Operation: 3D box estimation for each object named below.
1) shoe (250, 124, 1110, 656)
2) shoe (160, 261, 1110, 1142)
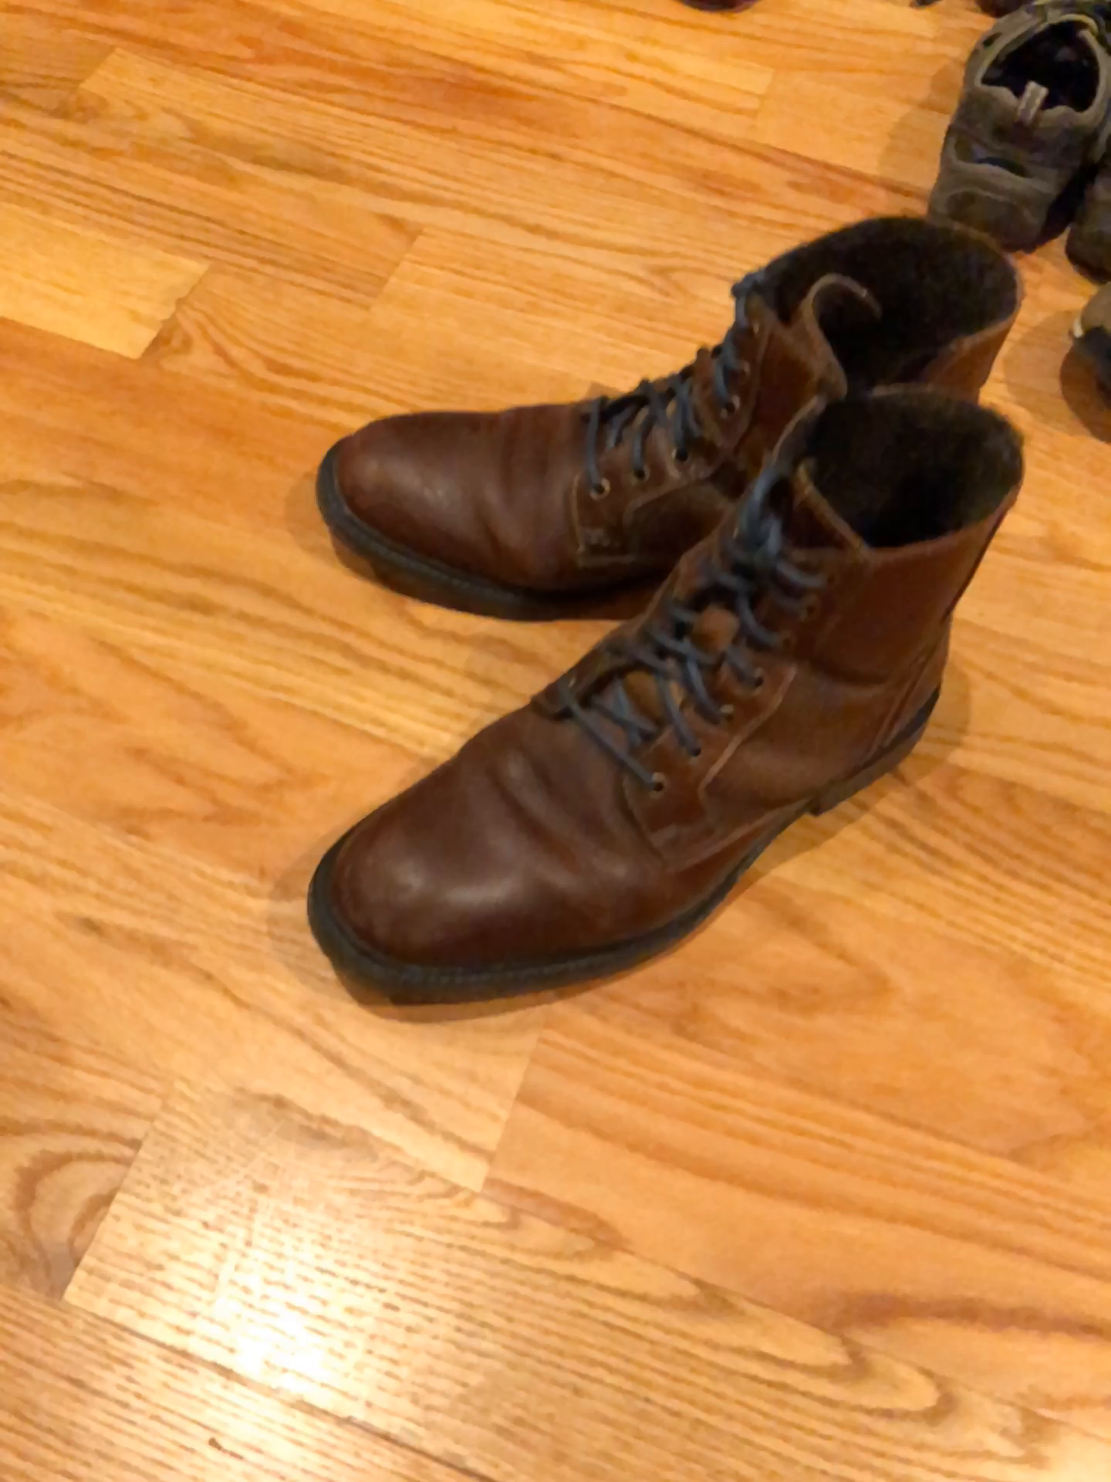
[{"bbox_3d":[0.047,-0.140,0.526,0.310,0.168,0.113,3,59,-2],"label":"shoe"},{"bbox_3d":[0.042,-0.015,0.454,0.304,0.176,0.128,-30,66,-20],"label":"shoe"}]
